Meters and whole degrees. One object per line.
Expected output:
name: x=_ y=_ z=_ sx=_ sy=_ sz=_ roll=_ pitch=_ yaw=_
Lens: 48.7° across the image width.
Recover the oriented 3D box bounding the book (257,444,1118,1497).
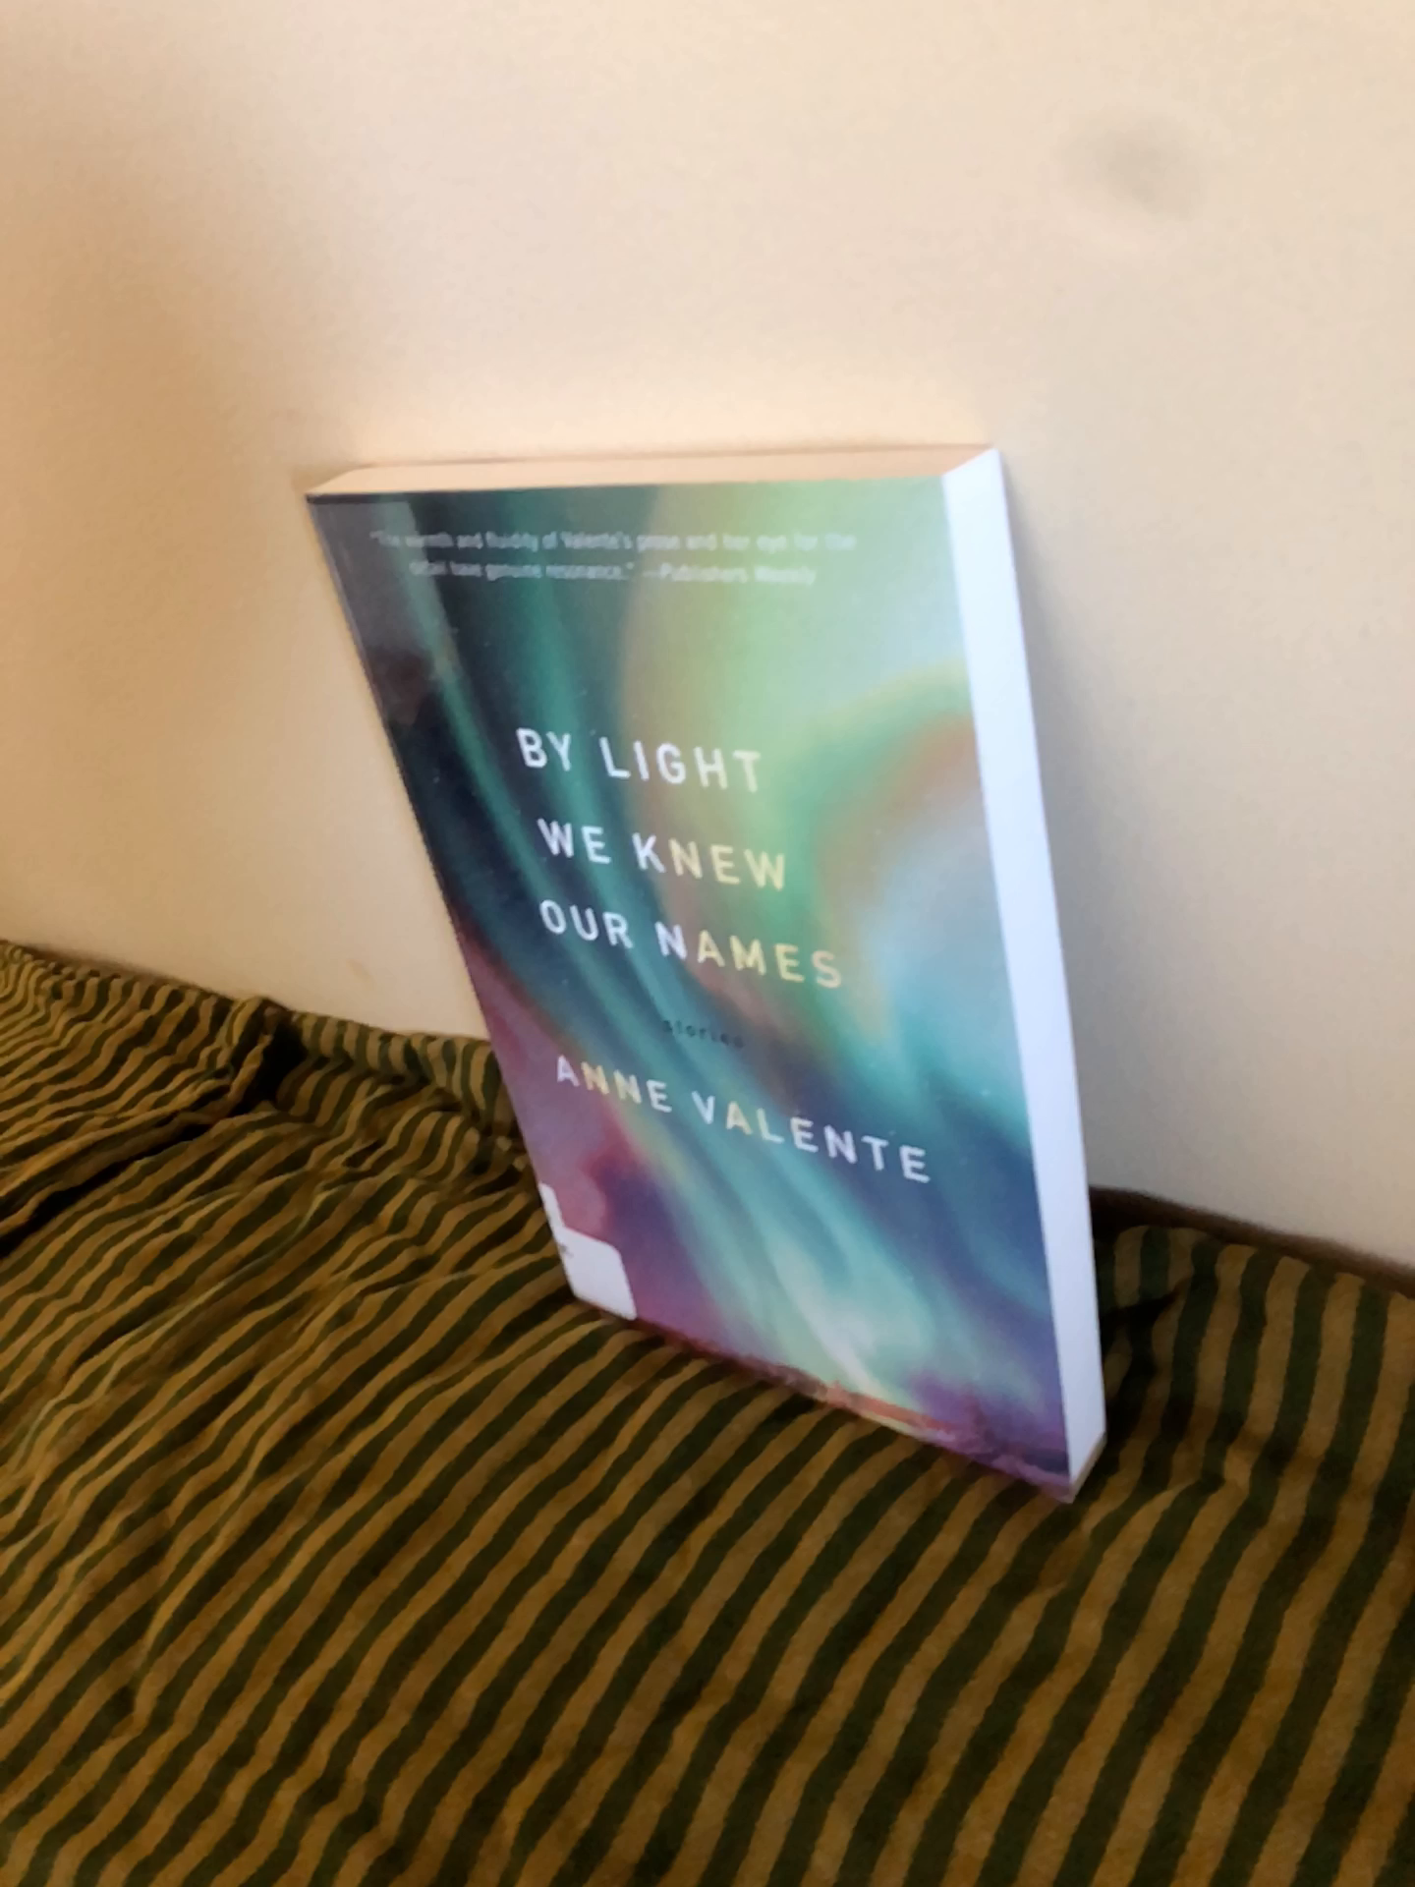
book: x=0.004 y=0.013 z=0.320 sx=0.142 sy=0.223 sz=0.020 roll=10 pitch=41 yaw=33
